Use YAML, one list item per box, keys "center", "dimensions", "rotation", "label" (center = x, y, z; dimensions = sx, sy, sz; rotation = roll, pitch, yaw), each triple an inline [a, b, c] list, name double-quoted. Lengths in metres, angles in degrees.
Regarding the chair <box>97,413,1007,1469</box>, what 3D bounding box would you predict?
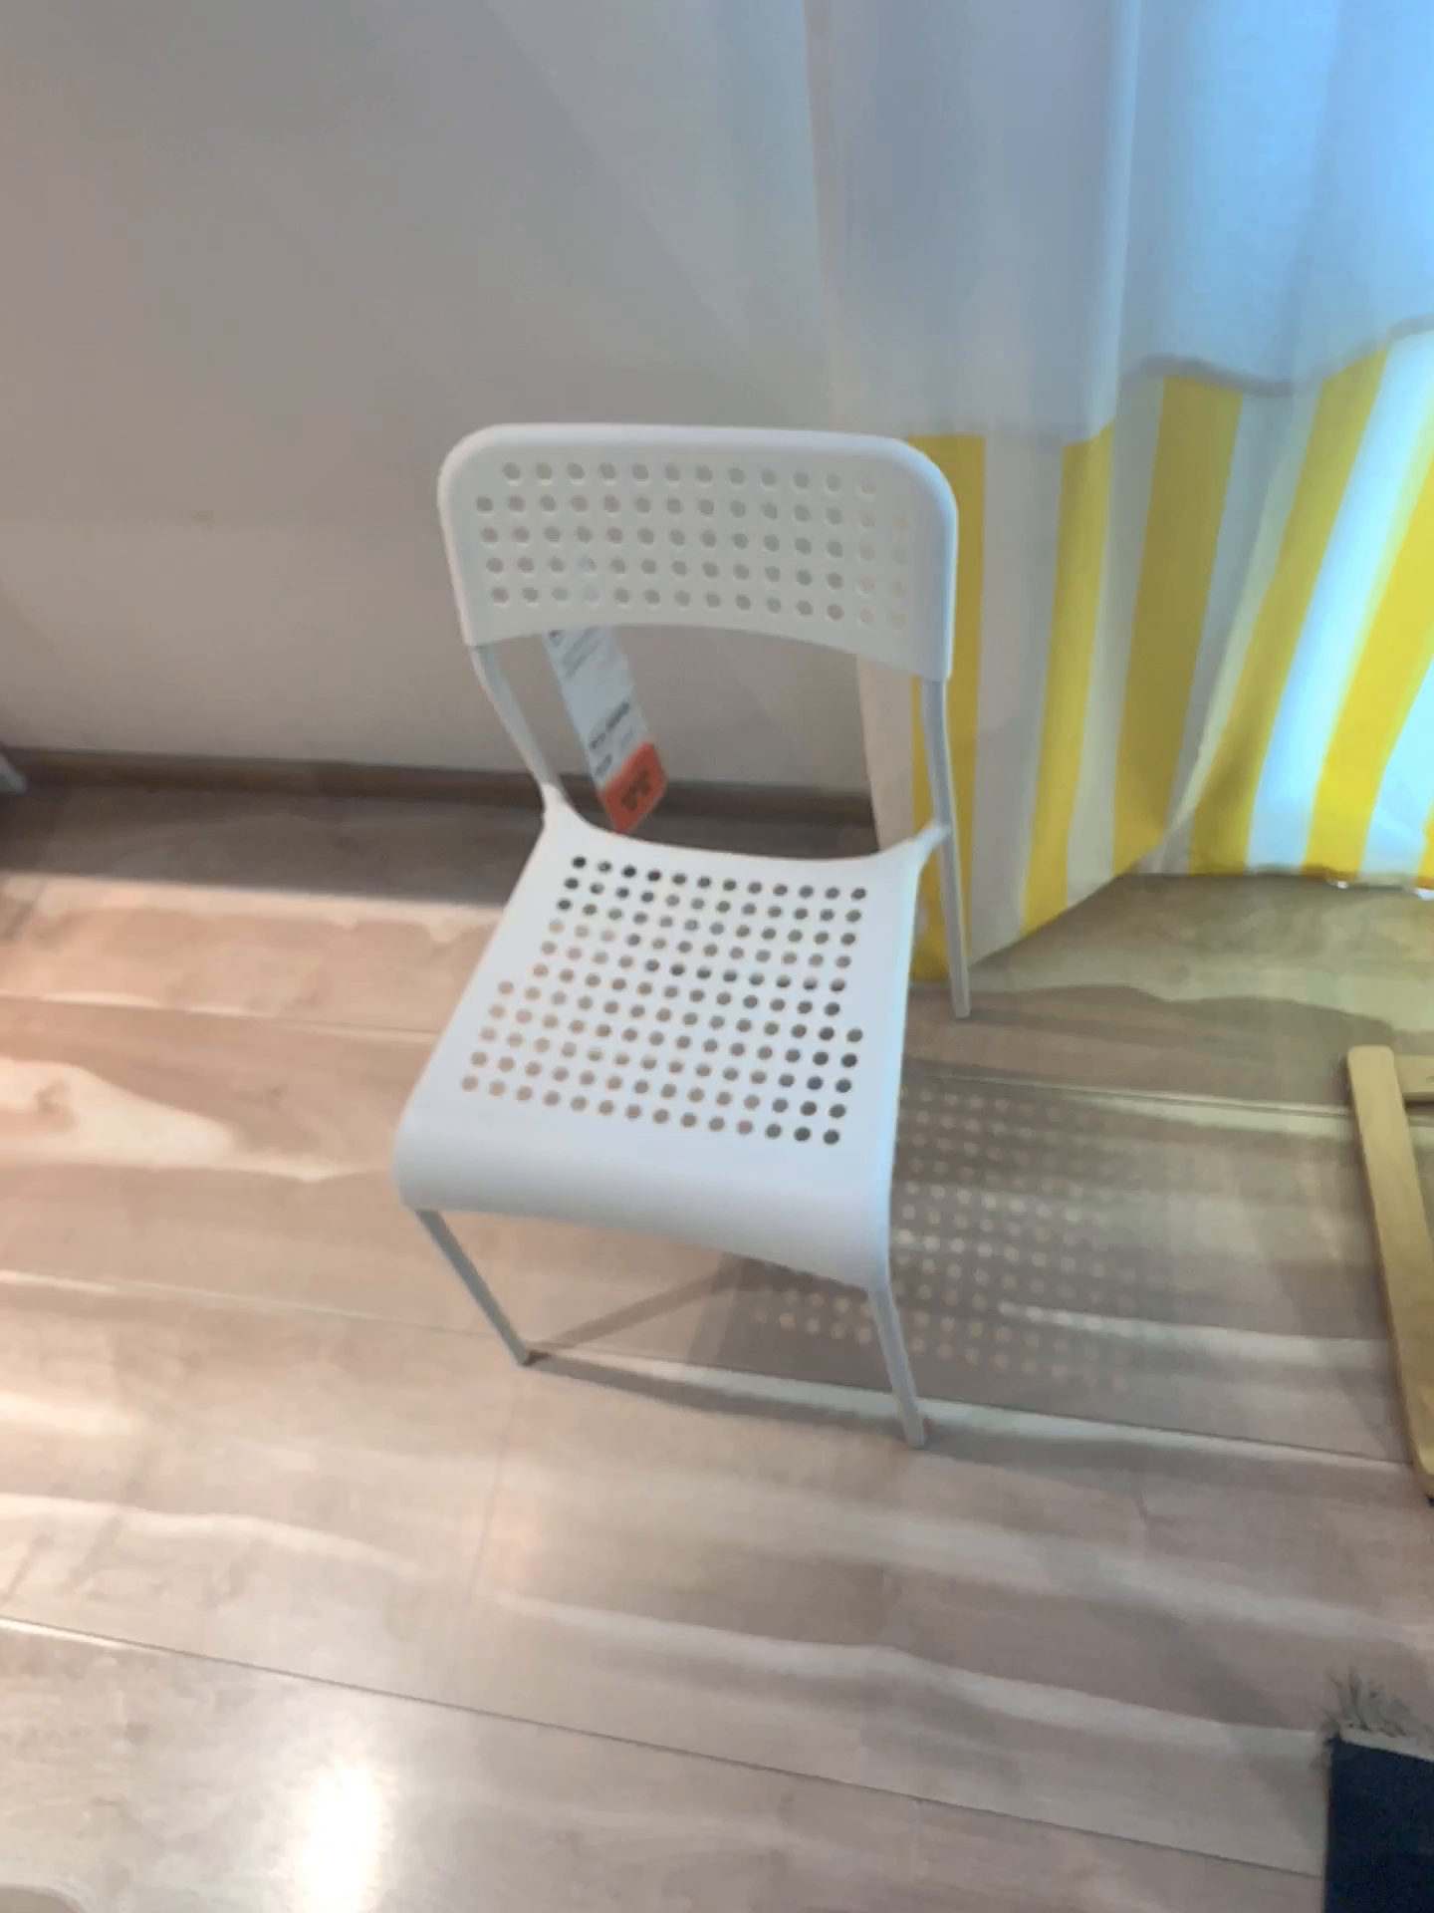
- center: [-0.024, 0.020, 1.177]
  dimensions: [0.440, 0.658, 0.531]
  rotation: [6, 60, 15]
  label: "chair"
